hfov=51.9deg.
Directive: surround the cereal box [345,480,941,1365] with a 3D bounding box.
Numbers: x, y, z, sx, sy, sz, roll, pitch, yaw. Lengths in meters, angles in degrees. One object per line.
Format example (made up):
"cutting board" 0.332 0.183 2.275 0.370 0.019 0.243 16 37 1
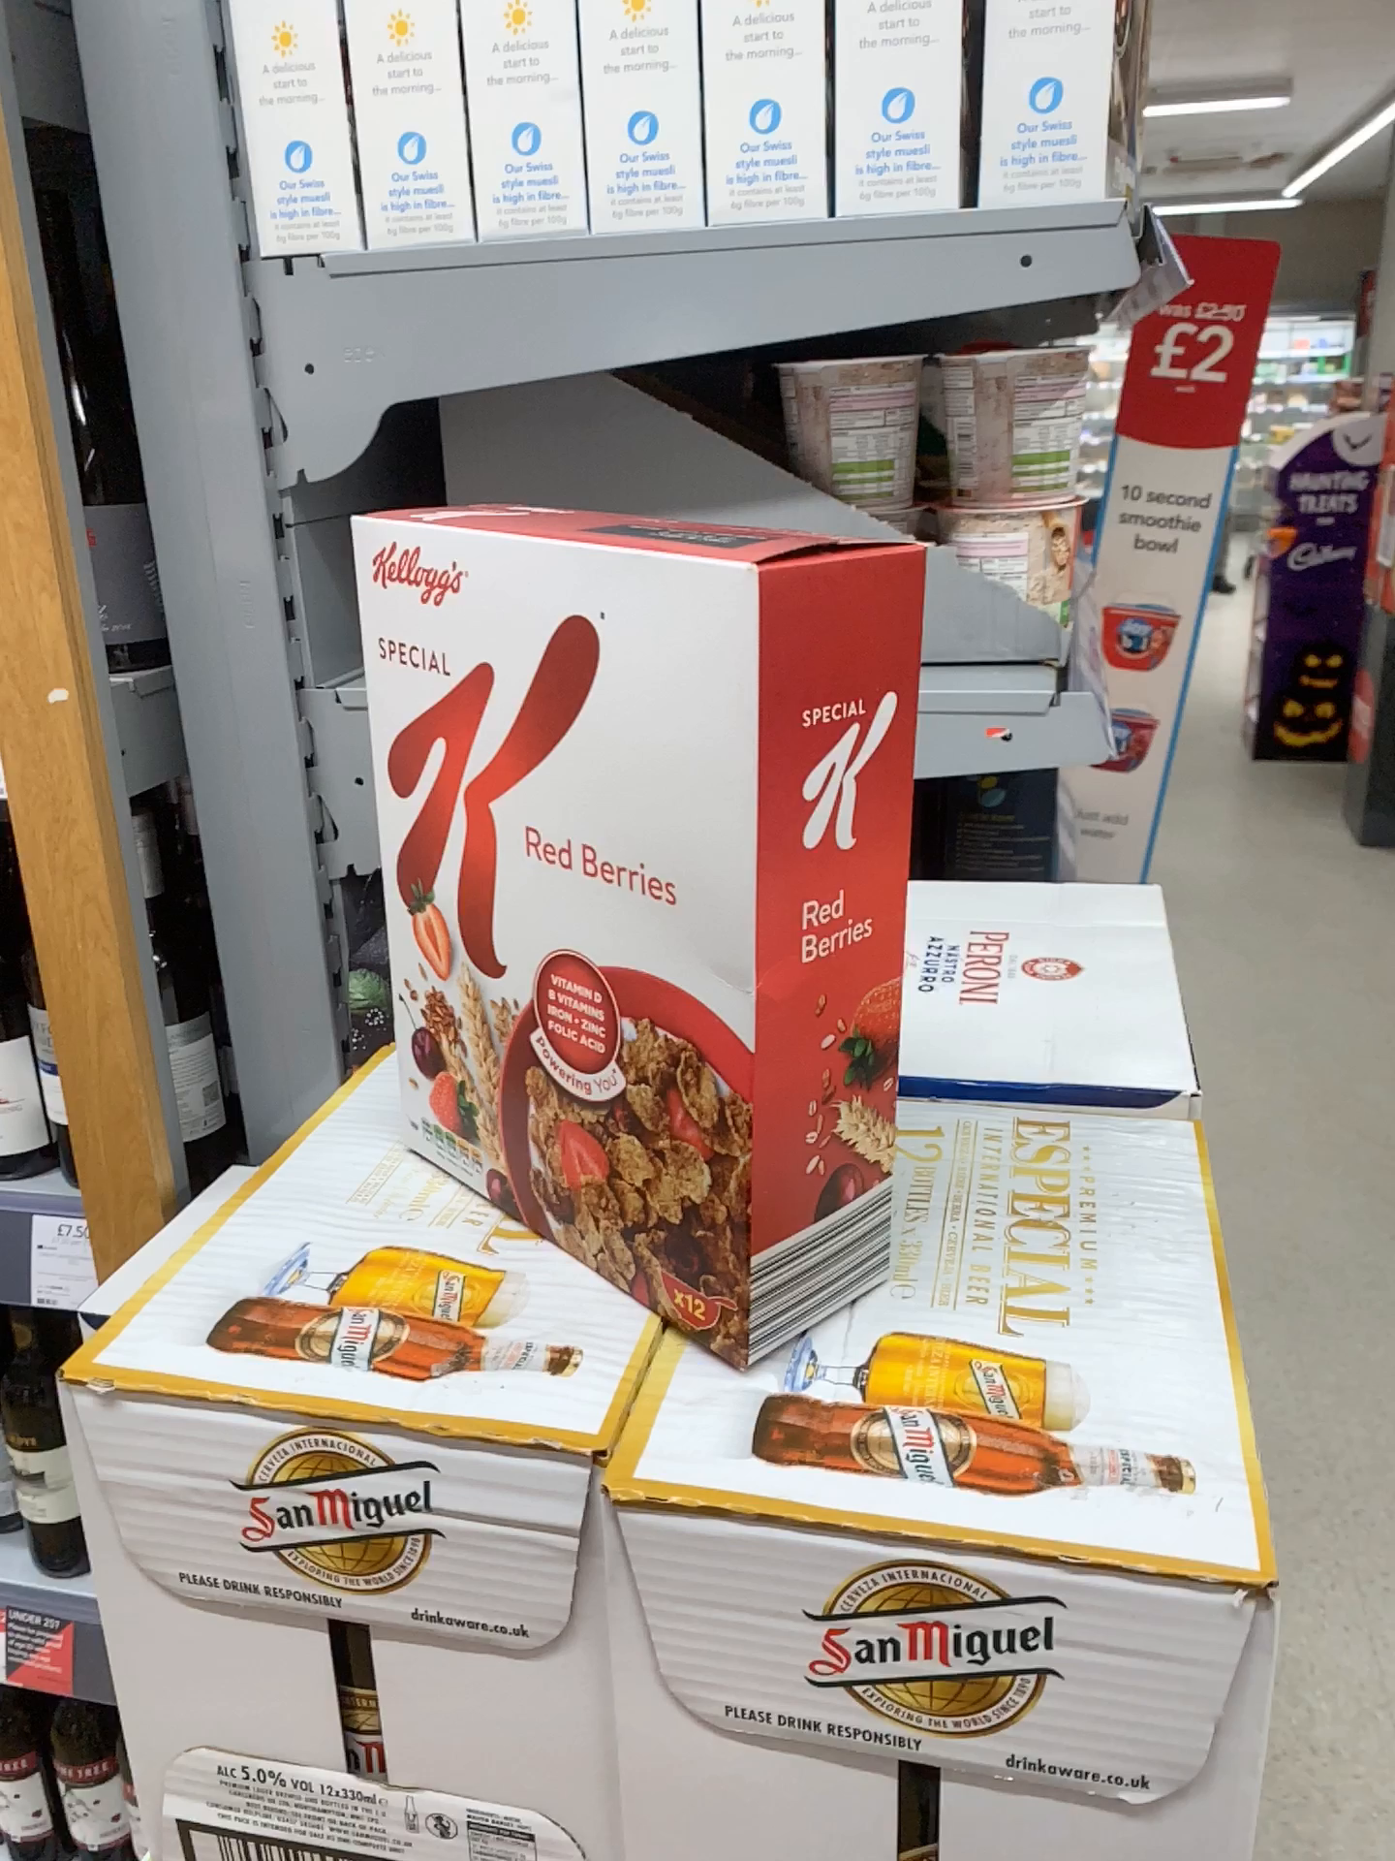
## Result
"cereal box" -0.026 -0.020 0.470 0.070 0.238 0.201 -16 24 -38
